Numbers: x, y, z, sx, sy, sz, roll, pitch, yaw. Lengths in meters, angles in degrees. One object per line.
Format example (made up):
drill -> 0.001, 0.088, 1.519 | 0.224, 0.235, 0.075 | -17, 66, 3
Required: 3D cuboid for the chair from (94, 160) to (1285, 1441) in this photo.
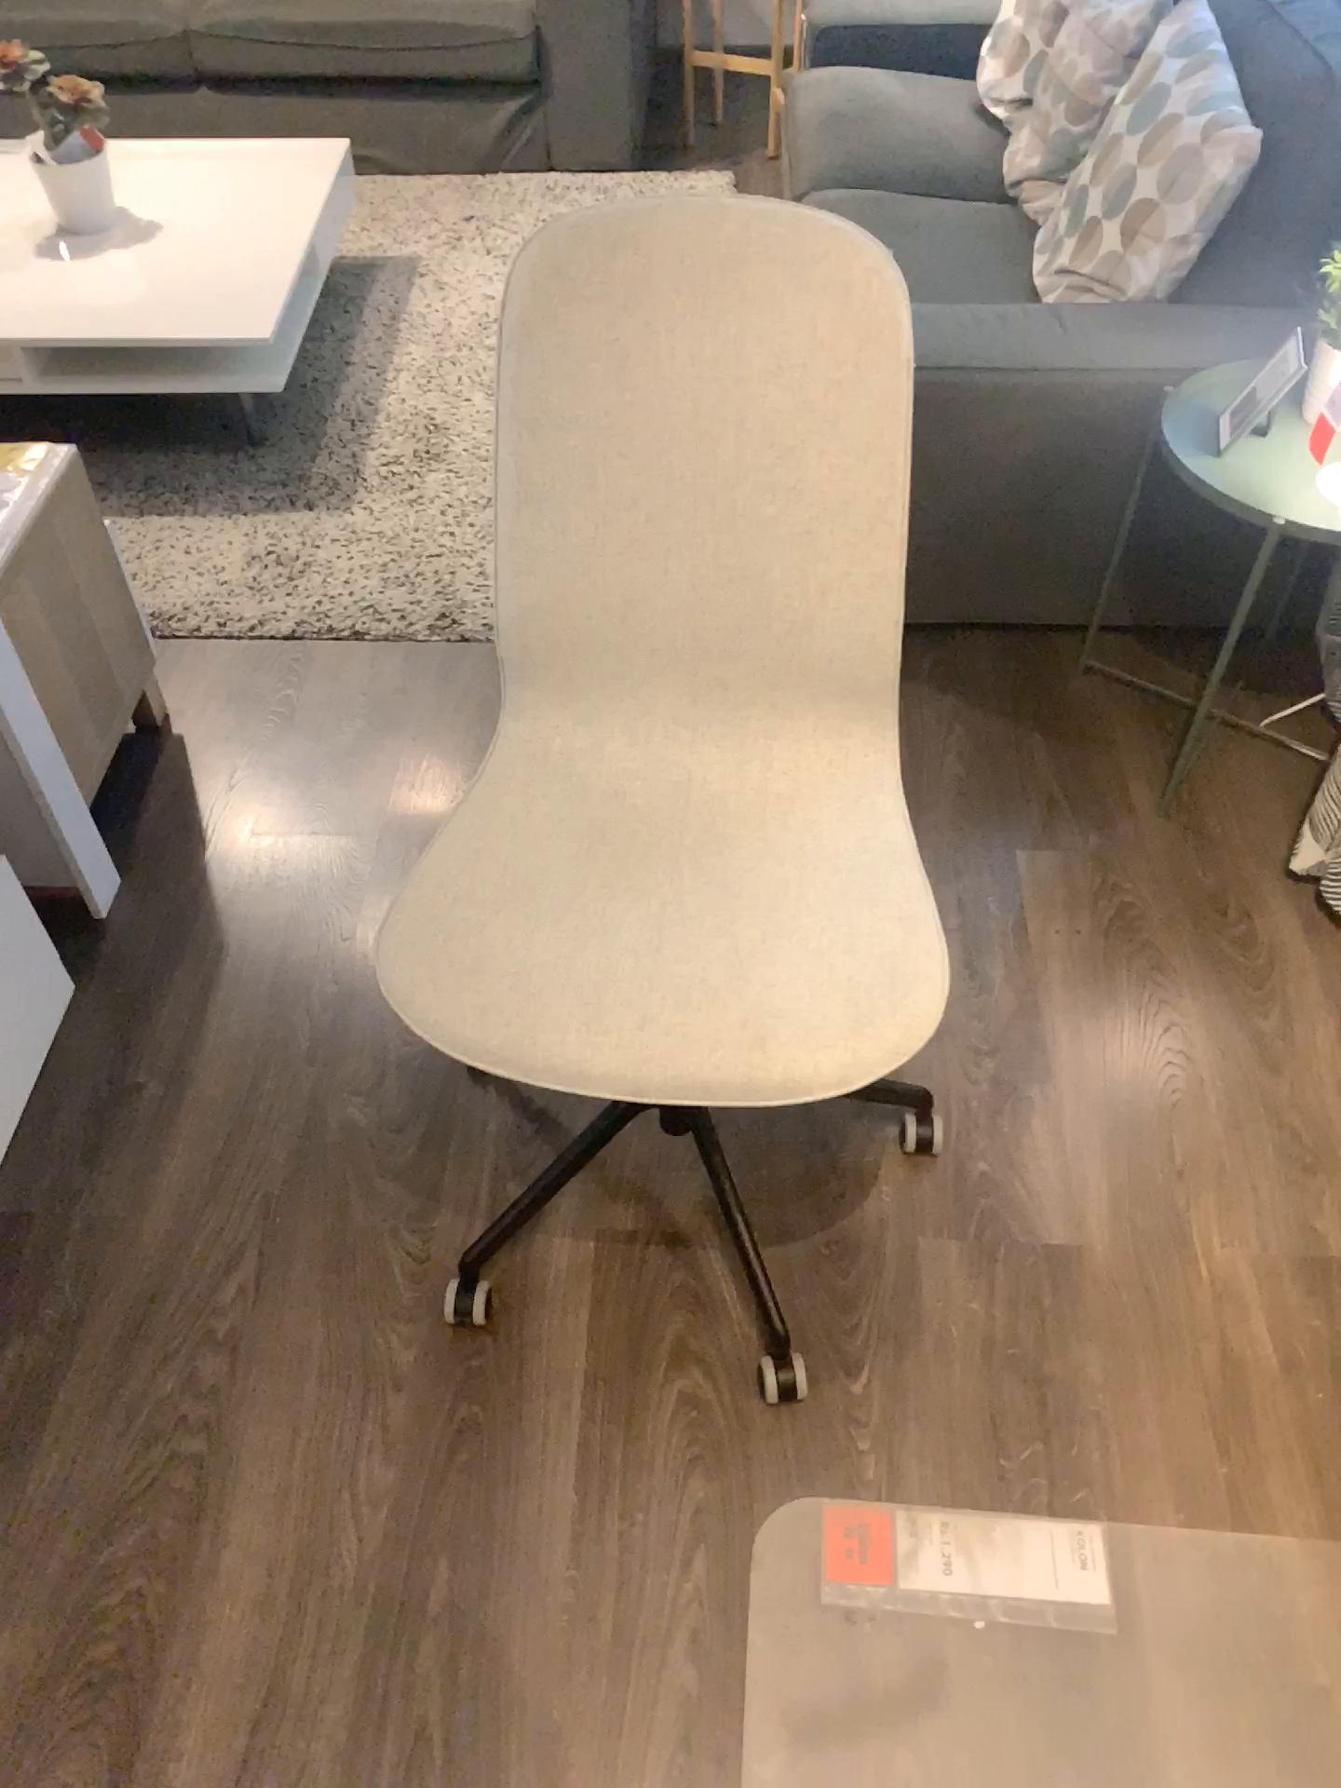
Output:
chair -> 0.031, -0.036, 1.329 | 0.630, 1.006, 0.713 | 3, 48, 3
